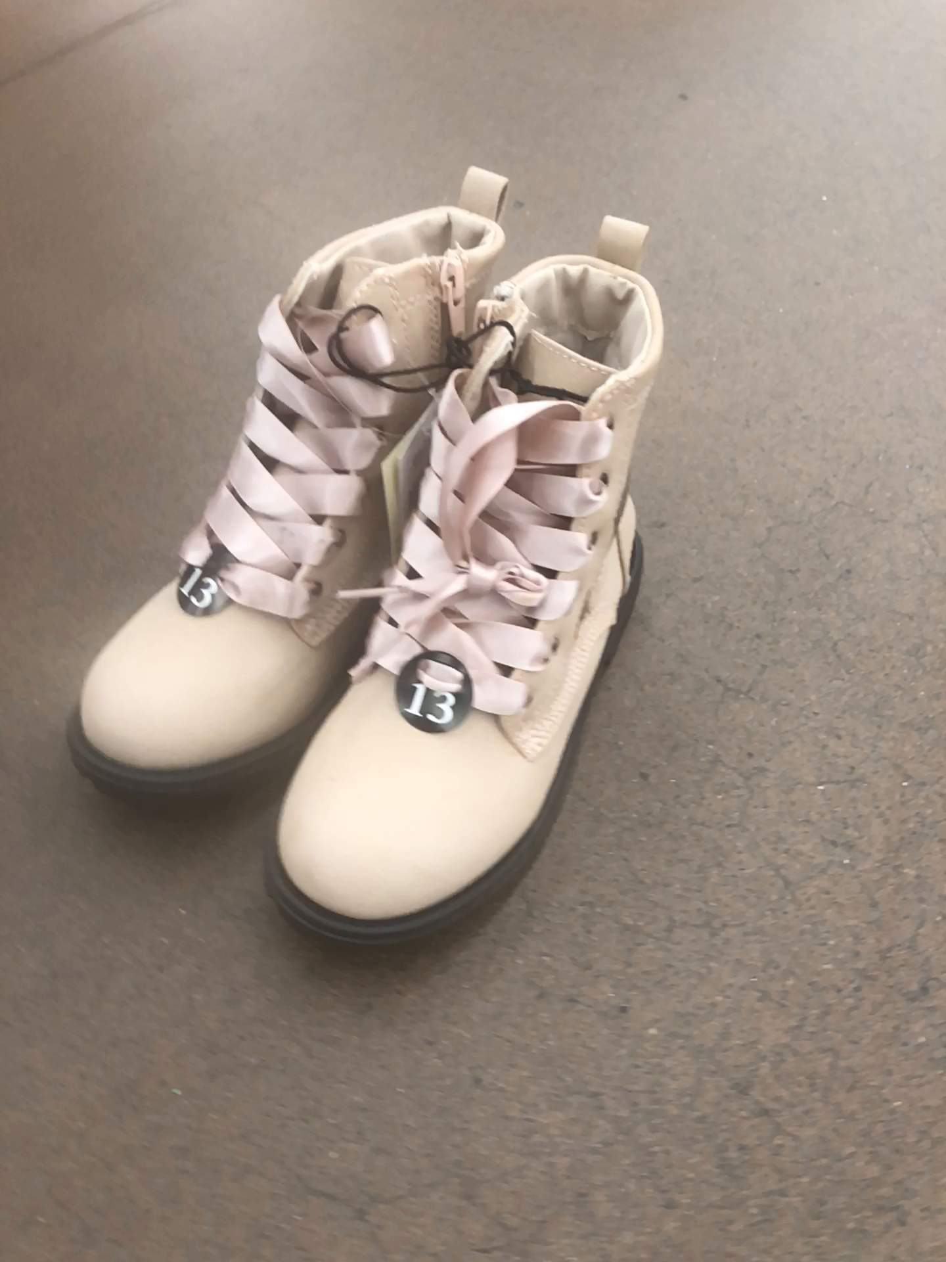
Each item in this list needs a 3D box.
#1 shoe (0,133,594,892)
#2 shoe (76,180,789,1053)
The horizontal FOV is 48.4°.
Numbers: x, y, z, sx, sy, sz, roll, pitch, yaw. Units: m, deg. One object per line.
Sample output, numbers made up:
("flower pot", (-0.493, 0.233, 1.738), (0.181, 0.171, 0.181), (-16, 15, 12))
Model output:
("shoe", (-0.062, -0.047, 0.375), (0.090, 0.150, 0.220), (31, 57, 21))
("shoe", (0.005, -0.011, 0.335), (0.090, 0.150, 0.221), (23, 55, 17))
